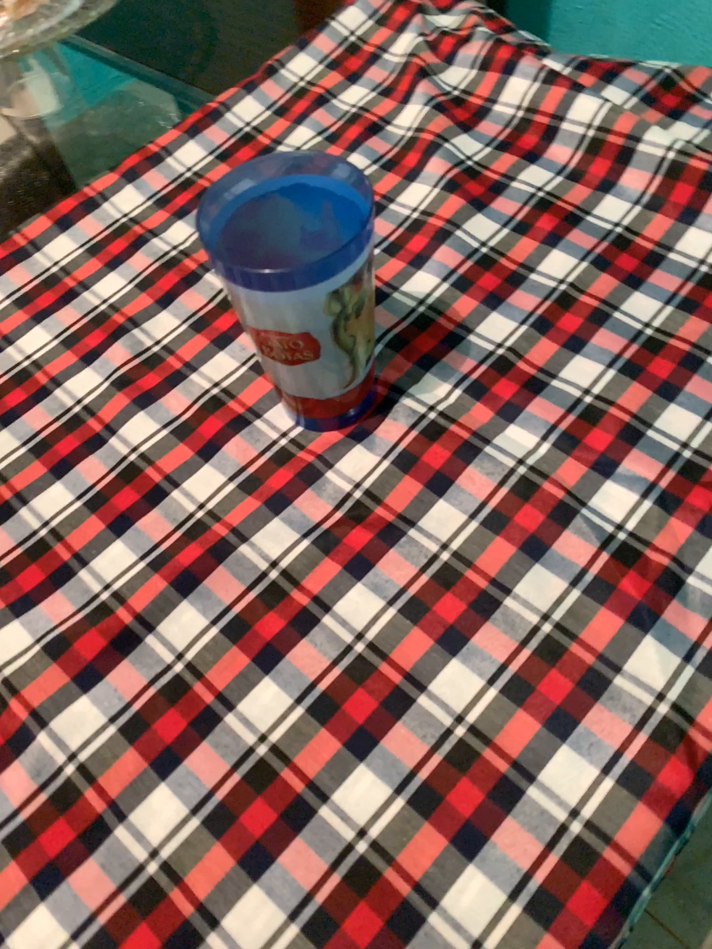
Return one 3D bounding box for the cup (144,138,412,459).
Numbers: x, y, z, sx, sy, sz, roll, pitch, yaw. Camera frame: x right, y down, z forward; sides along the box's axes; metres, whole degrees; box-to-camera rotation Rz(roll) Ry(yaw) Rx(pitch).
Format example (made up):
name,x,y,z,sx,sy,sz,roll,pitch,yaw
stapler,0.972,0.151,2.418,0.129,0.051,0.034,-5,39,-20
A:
name,x,y,z,sx,sy,sz,roll,pitch,yaw
cup,-0.033,-0.093,0.403,0.090,0.130,0.090,-4,57,6
